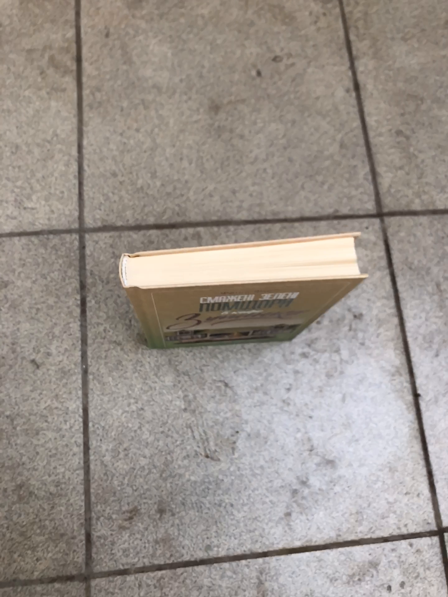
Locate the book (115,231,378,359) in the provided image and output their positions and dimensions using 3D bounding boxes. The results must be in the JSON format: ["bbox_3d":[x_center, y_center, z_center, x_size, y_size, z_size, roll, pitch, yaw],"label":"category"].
[{"bbox_3d":[0.005,0.009,0.369,0.140,0.210,0.030,-3,75,-6],"label":"book"}]
